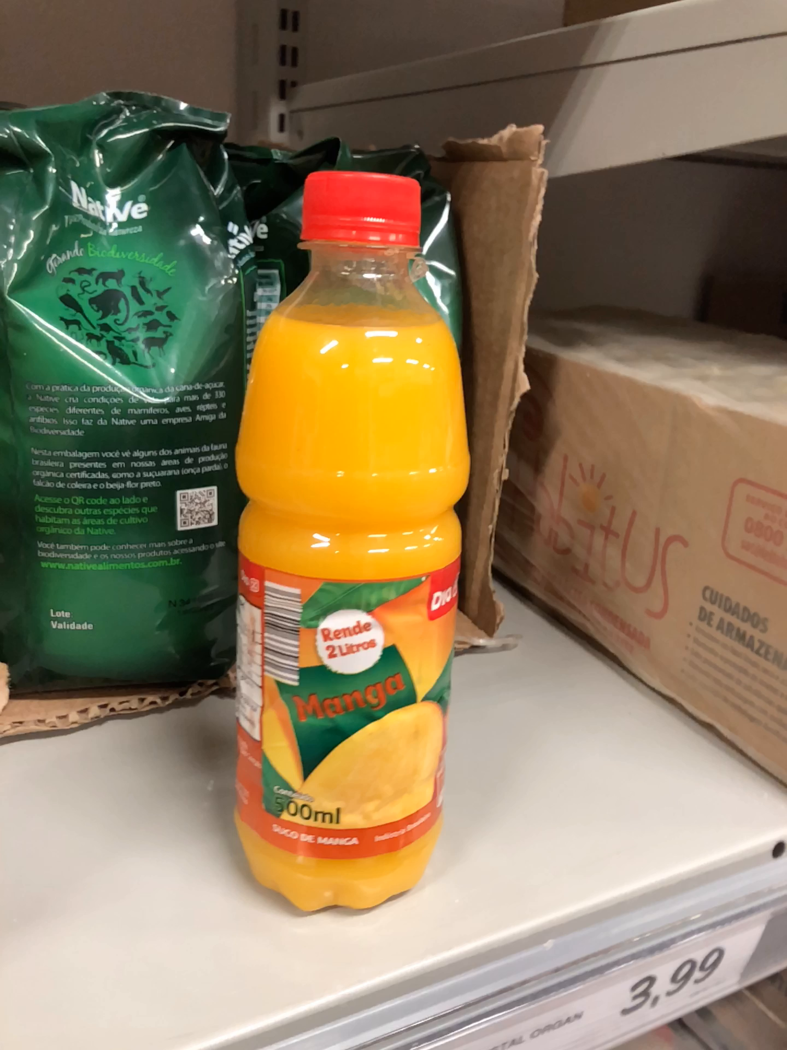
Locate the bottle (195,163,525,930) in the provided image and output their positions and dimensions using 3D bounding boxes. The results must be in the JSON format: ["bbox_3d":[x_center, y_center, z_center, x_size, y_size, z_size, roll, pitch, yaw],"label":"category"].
[{"bbox_3d":[-0.012,0.009,0.246,0.070,0.199,0.060,1,18,-4],"label":"bottle"}]
